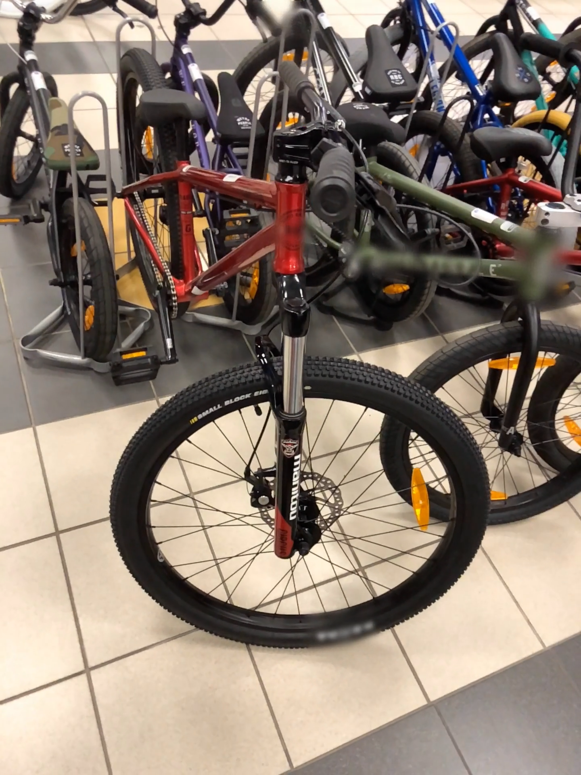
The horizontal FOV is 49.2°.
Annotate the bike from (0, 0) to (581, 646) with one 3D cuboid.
[{"bbox_3d":[-0.140,-0.376,1.290,0.713,0.998,1.340,-20,54,-27],"label":"bike"}]
